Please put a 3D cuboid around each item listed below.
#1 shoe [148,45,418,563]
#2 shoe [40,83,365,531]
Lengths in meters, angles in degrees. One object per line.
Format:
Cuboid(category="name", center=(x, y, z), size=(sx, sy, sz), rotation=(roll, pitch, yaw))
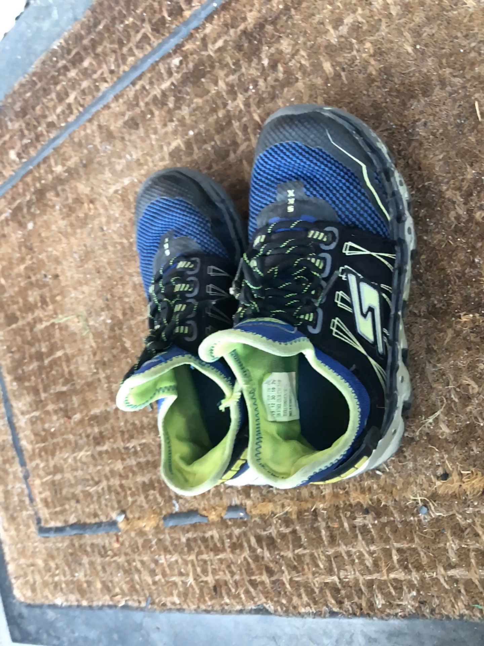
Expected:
Cuboid(category="shoe", center=(0.026, -0.009, 0.275), size=(0.090, 0.100, 0.200), rotation=(1, 95, 37))
Cuboid(category="shoe", center=(-0.026, -0.010, 0.336), size=(0.090, 0.100, 0.230), rotation=(-27, 79, 36))
